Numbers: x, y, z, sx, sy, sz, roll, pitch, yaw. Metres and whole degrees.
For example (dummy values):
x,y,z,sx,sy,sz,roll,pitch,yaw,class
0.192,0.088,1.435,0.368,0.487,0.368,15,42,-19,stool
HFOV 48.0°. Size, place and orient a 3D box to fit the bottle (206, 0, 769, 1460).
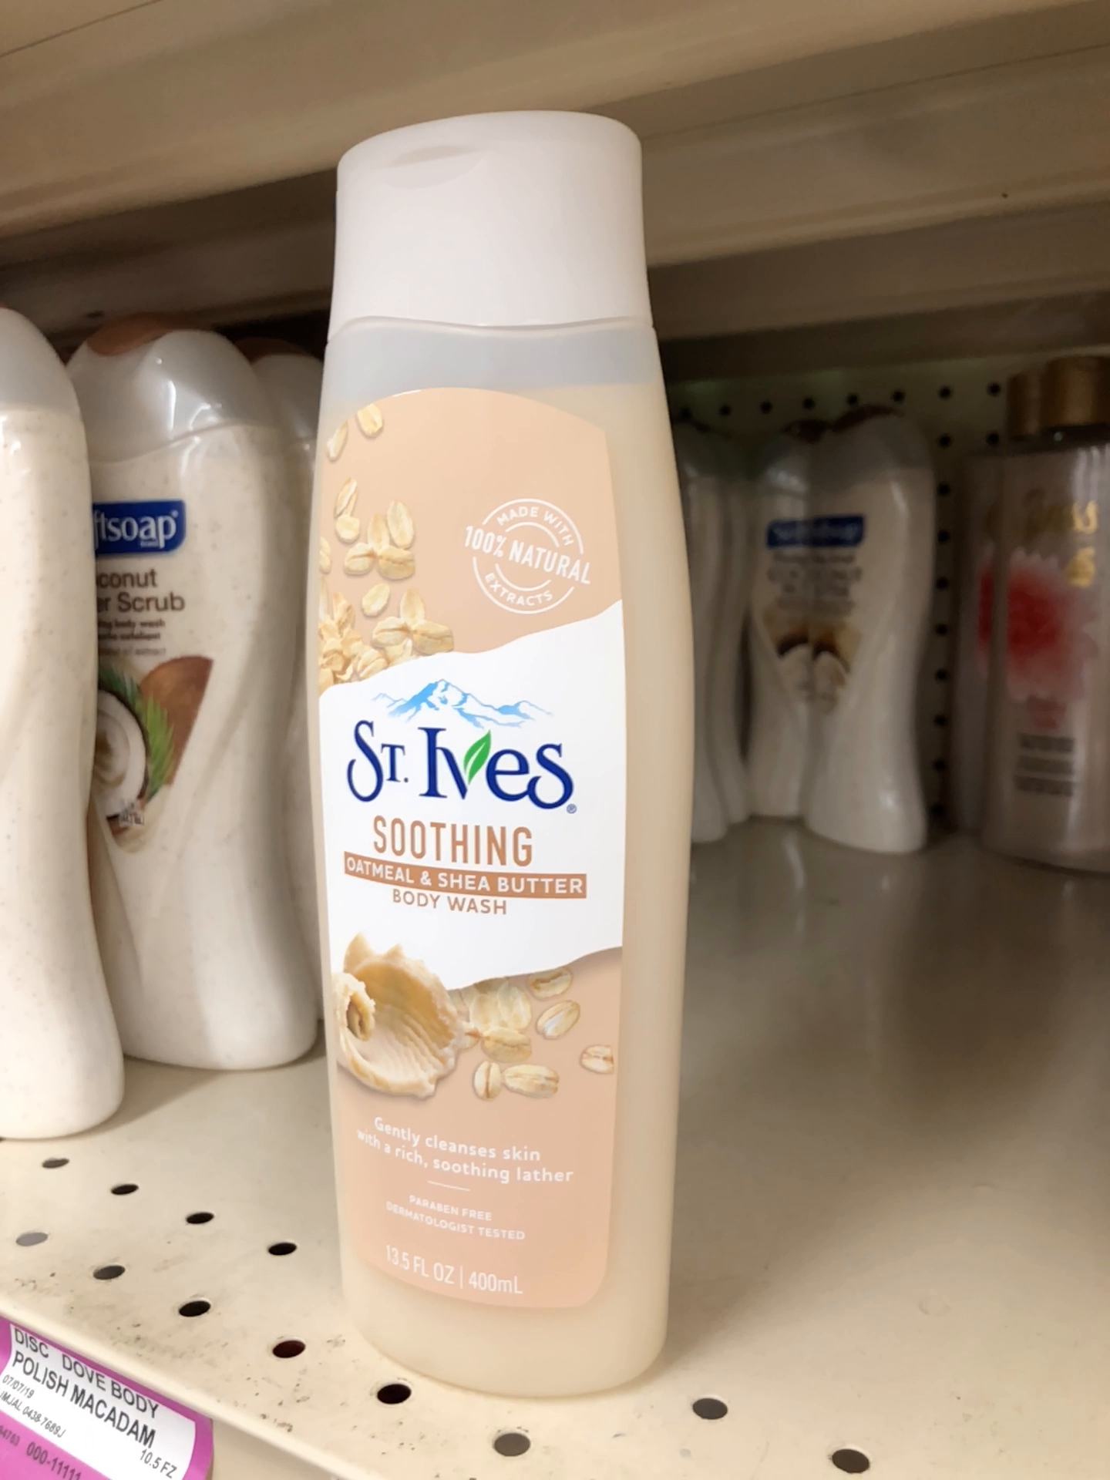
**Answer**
x,y,z,sx,sy,sz,roll,pitch,yaw,class
-0.007,0.001,0.228,0.080,0.230,0.050,3,11,25,bottle
